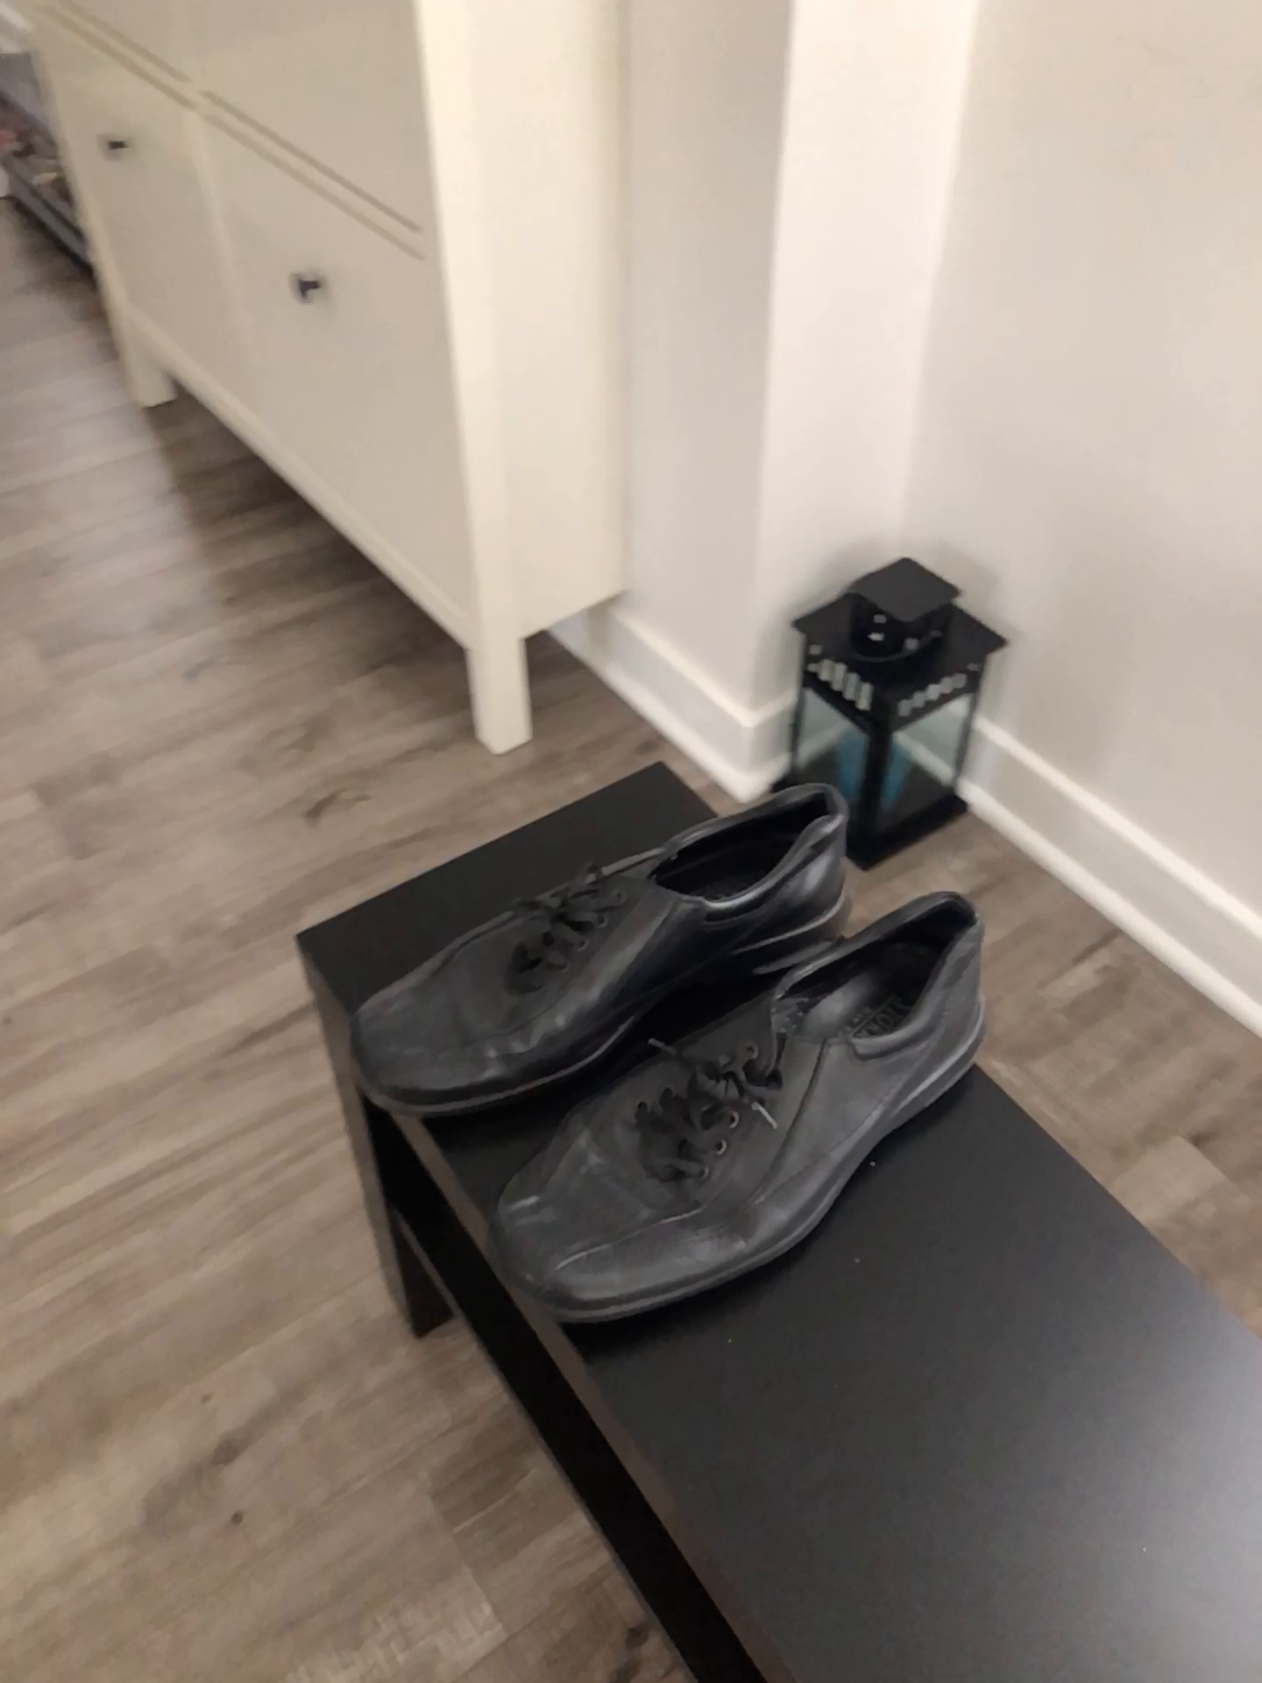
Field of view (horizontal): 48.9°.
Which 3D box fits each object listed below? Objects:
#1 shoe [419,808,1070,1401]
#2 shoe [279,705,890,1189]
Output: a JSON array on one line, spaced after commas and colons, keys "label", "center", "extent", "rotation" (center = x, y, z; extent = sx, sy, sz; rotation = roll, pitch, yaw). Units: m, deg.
[{"label": "shoe", "center": [0.057, 0.115, 0.658], "extent": [0.283, 0.110, 0.110], "rotation": [-28, 52, -23]}, {"label": "shoe", "center": [-0.019, 0.049, 0.731], "extent": [0.286, 0.110, 0.110], "rotation": [-23, 50, -19]}]
